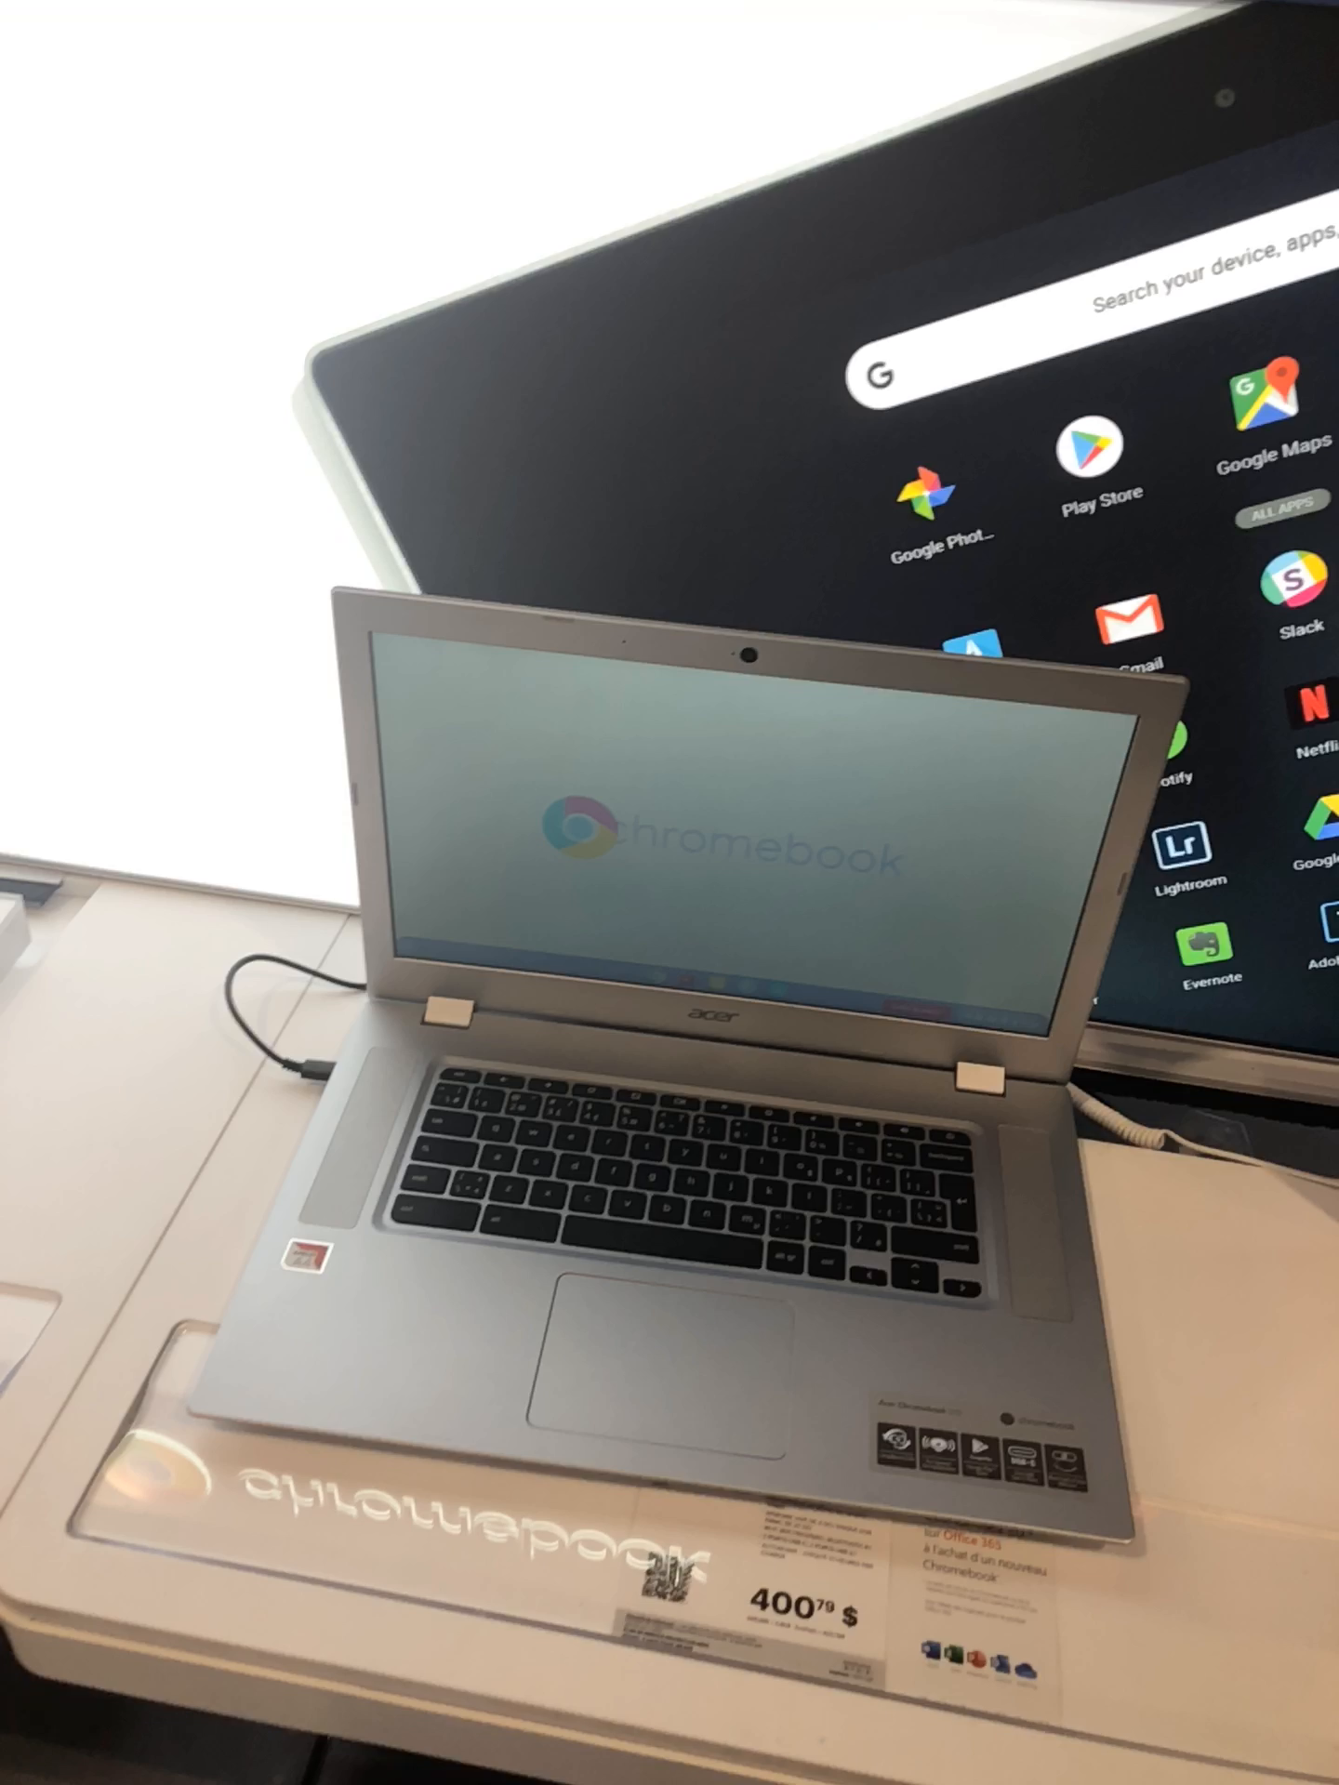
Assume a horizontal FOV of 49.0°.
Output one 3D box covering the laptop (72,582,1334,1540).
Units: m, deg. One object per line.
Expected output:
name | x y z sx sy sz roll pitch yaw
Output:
laptop | 0.013 0.056 0.618 0.377 0.250 0.265 7 36 4
